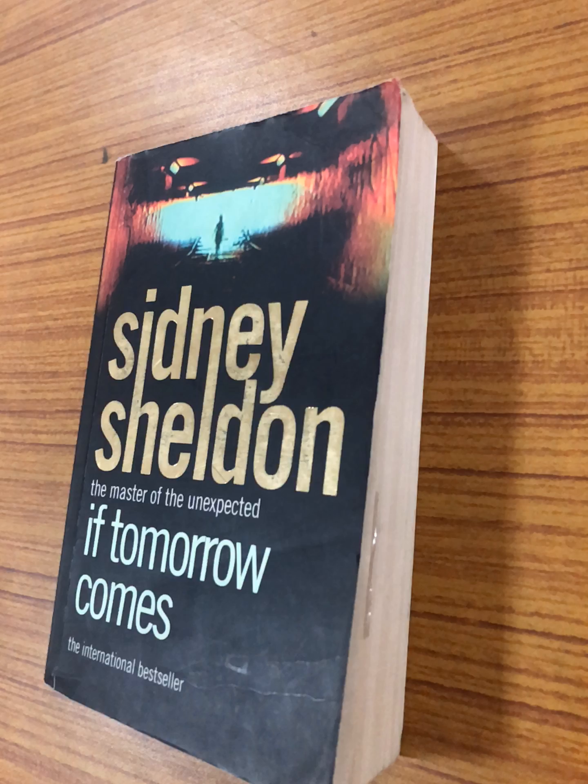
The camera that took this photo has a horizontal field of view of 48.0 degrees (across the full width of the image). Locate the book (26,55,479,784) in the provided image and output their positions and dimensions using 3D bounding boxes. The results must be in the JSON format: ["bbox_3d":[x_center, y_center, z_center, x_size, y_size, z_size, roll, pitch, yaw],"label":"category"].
[{"bbox_3d":[-0.013,0.007,0.192,0.115,0.034,0.176,0,80,32],"label":"book"}]
